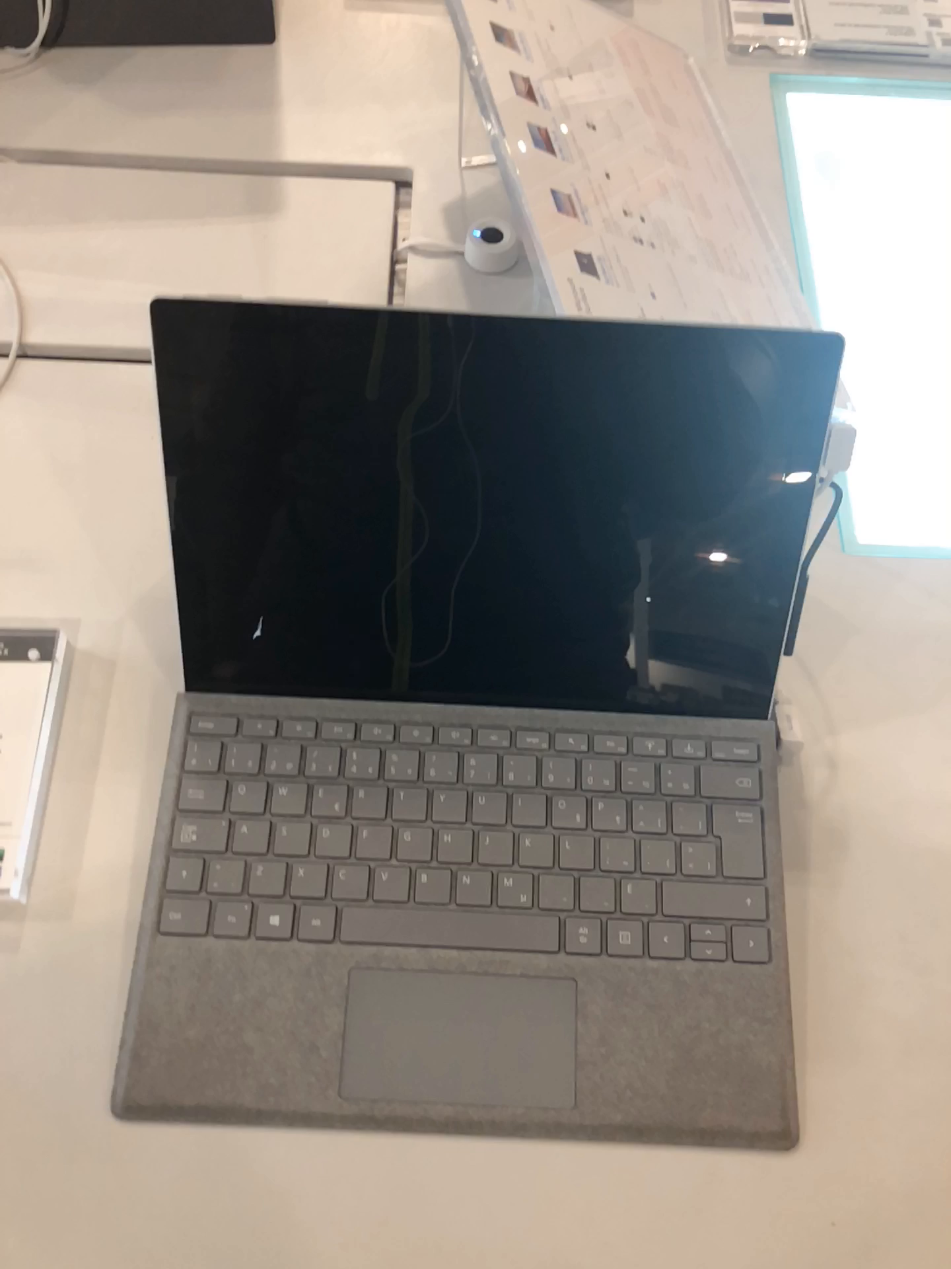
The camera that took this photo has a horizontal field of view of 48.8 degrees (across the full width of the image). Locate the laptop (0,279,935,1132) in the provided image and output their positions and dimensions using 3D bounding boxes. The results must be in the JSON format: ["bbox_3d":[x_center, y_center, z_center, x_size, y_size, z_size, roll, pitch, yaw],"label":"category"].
[{"bbox_3d":[0.001,0.034,0.429,0.278,0.148,0.297,3,67,-1],"label":"laptop"}]
